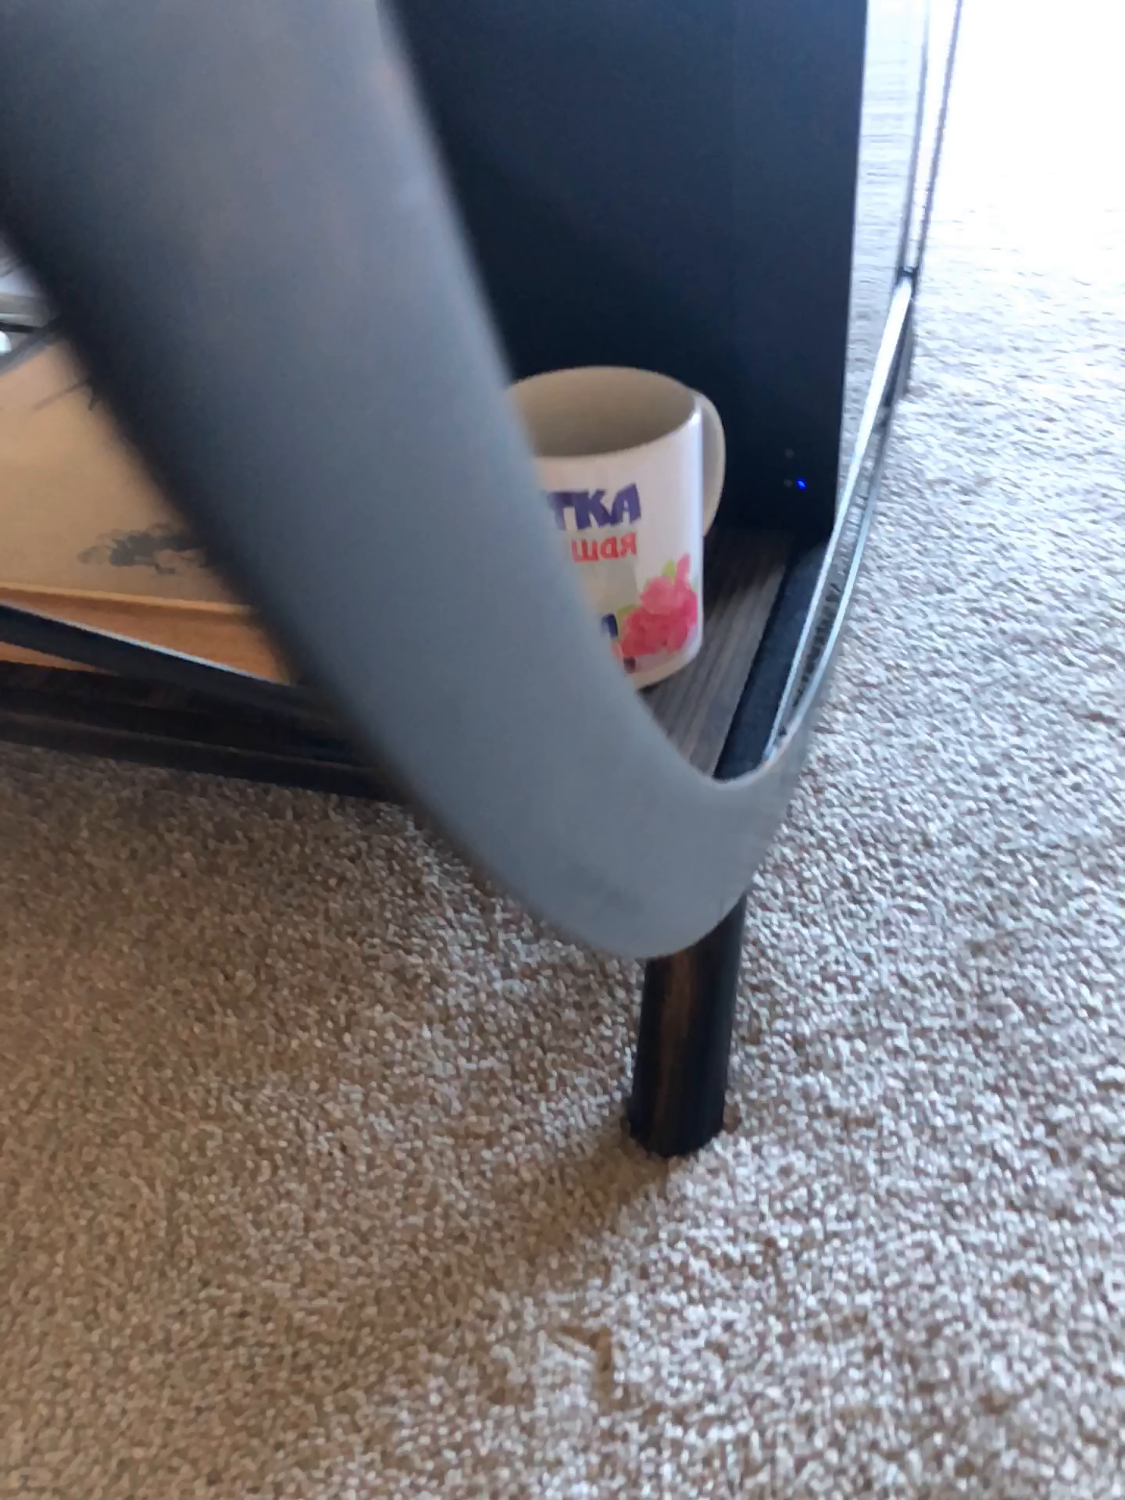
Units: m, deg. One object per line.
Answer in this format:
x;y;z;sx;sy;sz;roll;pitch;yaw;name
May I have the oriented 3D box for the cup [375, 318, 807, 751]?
0.017;-0.090;0.485;0.090;0.099;0.140;25;47;33;cup
